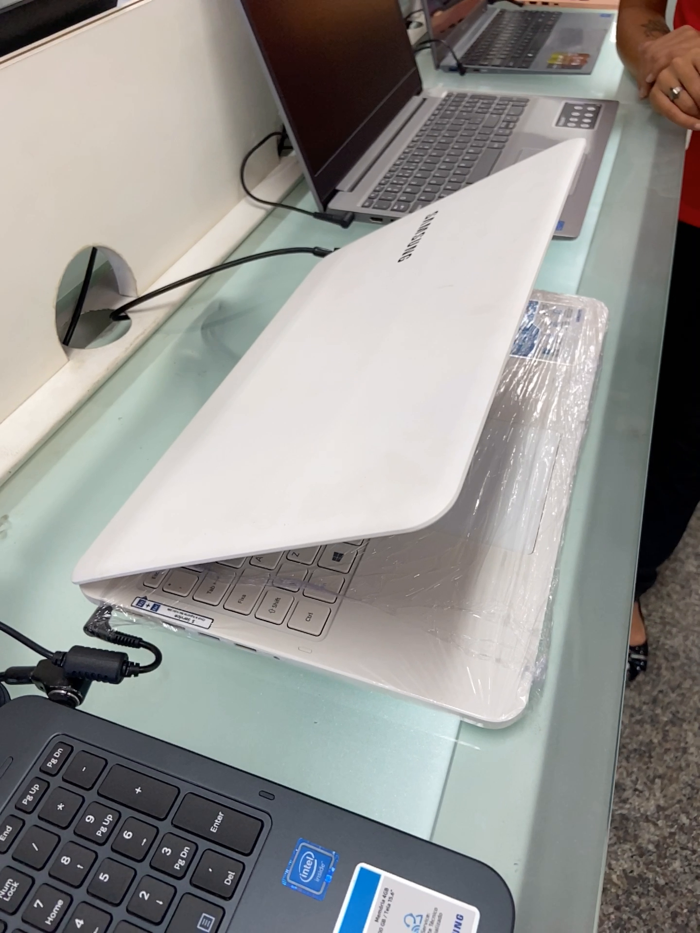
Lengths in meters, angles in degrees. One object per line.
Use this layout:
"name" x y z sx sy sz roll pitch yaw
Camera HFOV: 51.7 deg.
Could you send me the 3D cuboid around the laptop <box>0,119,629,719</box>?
"laptop" 0.017 -0.079 0.446 0.247 0.129 0.374 11 45 16
